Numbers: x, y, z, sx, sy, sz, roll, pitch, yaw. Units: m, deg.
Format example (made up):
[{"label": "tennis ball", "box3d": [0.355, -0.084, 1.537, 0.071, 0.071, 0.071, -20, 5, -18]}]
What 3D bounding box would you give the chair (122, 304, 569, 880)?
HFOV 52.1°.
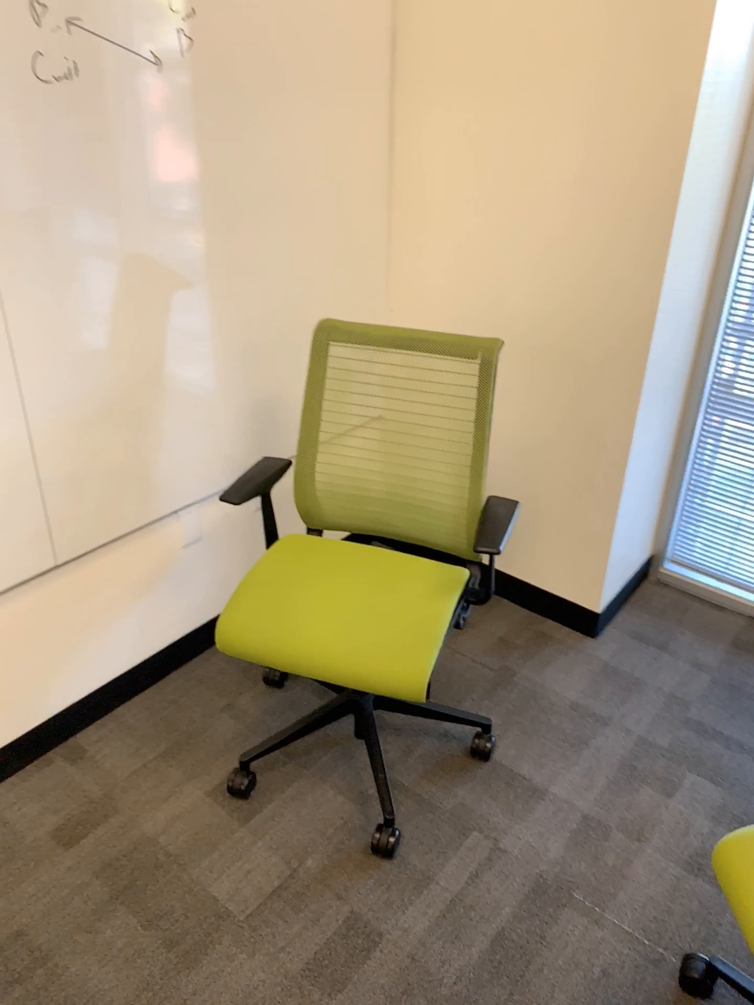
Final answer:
[{"label": "chair", "box3d": [-0.008, 0.145, 1.920, 0.701, 0.994, 0.844, 11, 31, 18]}]
